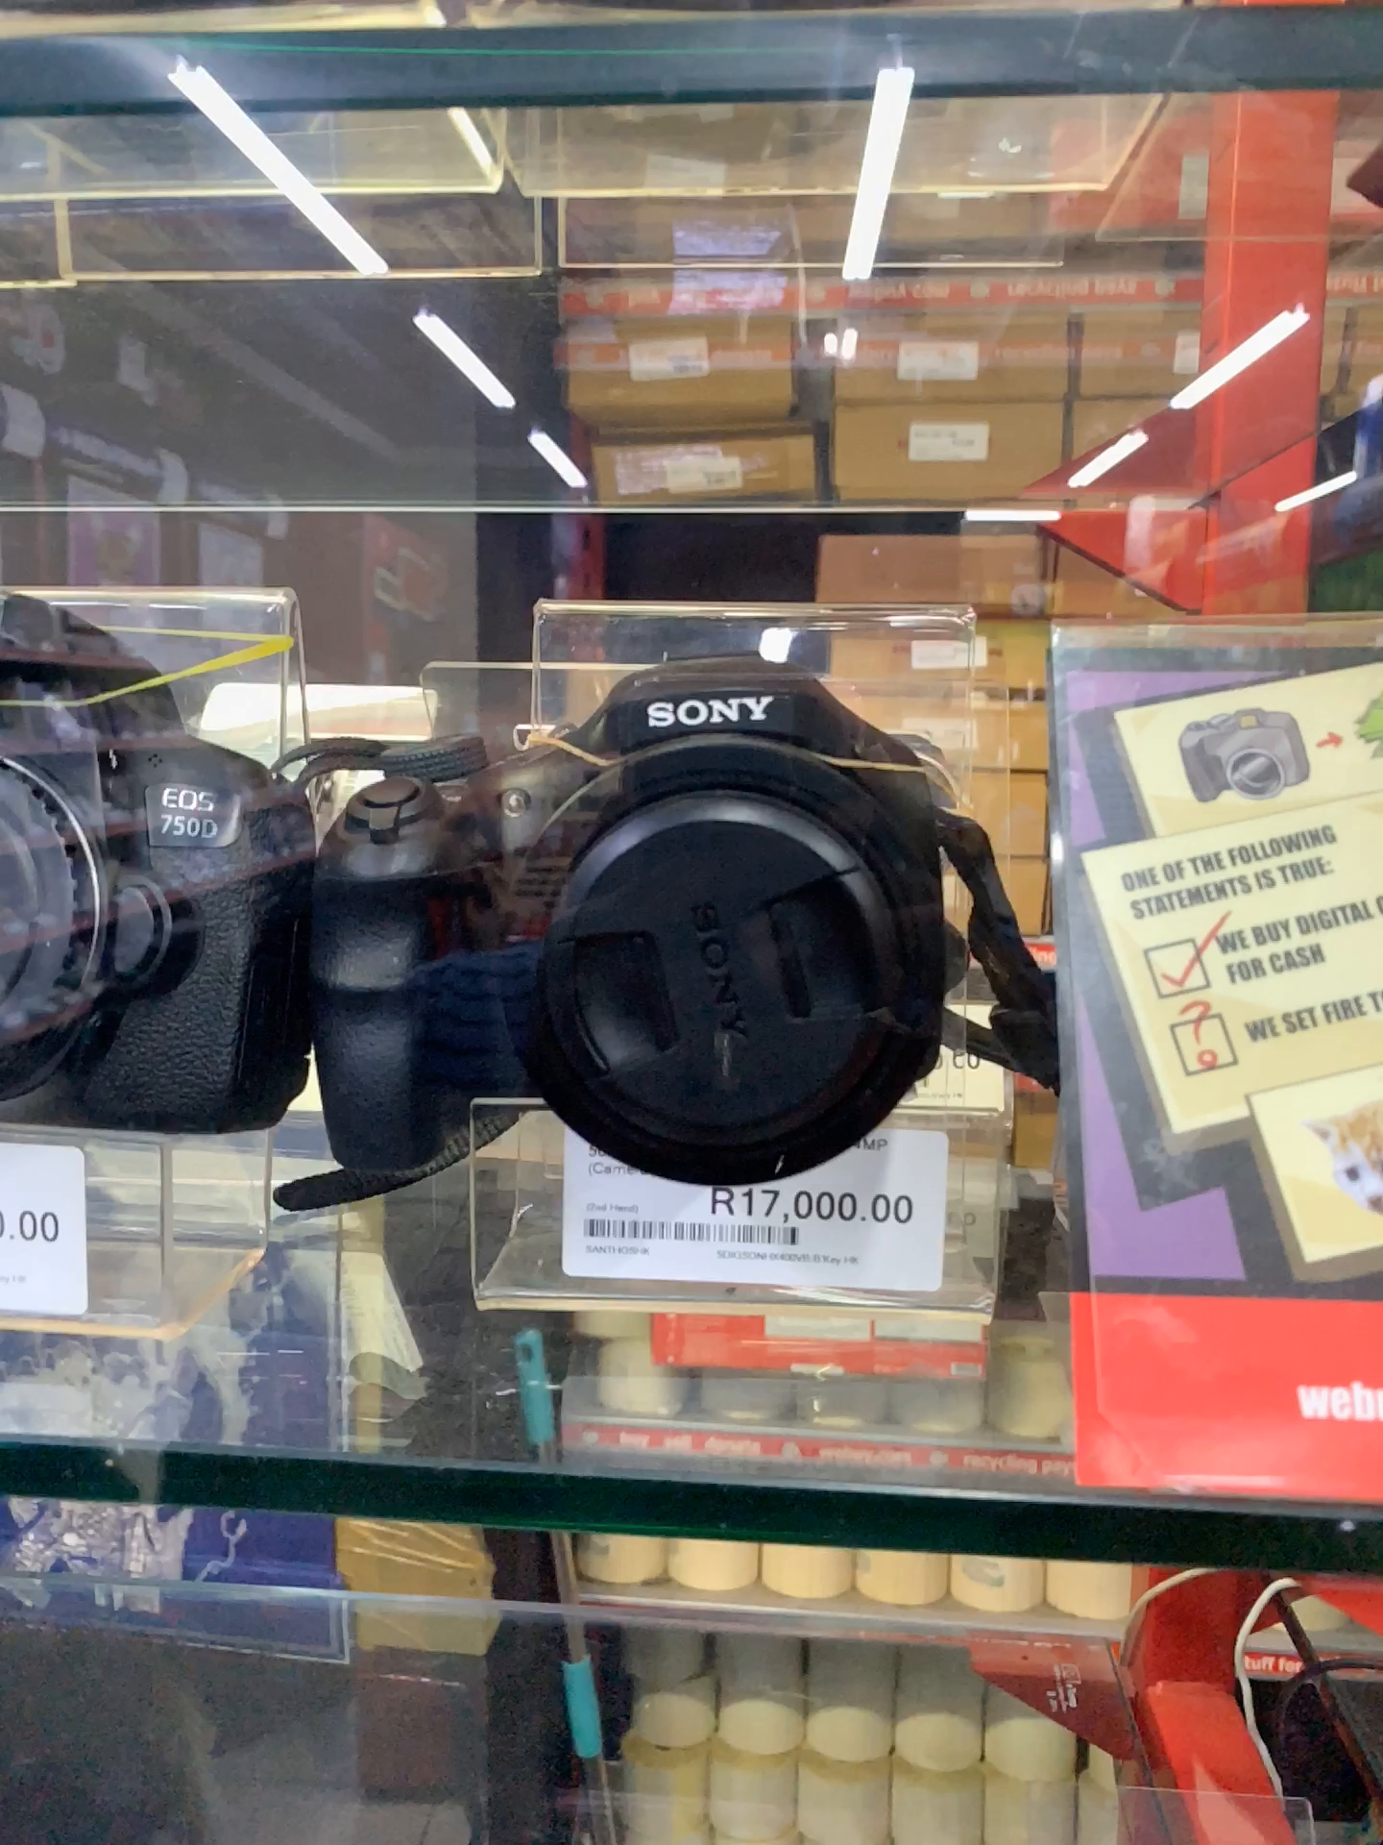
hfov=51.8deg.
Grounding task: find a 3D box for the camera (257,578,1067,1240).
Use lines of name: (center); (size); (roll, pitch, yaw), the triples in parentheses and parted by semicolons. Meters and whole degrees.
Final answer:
camera: (-0.005, -0.007, 0.262); (0.120, 0.100, 0.090); (1, 7, 0)
